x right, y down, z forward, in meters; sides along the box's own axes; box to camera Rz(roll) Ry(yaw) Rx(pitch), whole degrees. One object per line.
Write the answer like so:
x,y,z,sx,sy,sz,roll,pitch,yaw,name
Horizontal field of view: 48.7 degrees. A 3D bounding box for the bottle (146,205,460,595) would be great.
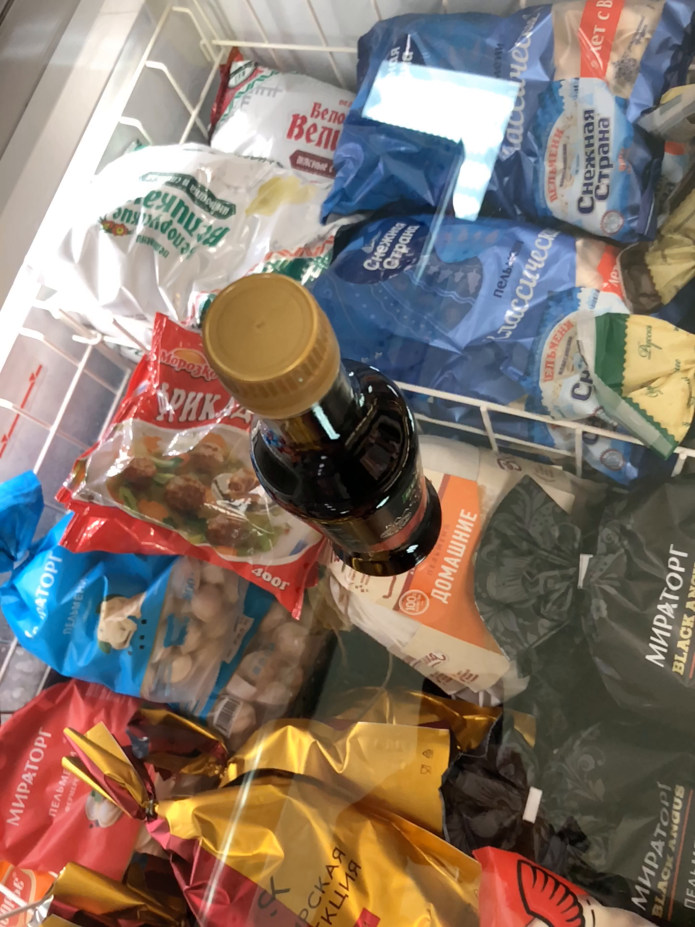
0.003,0.000,0.261,0.060,0.193,0.058,-3,71,10,bottle
